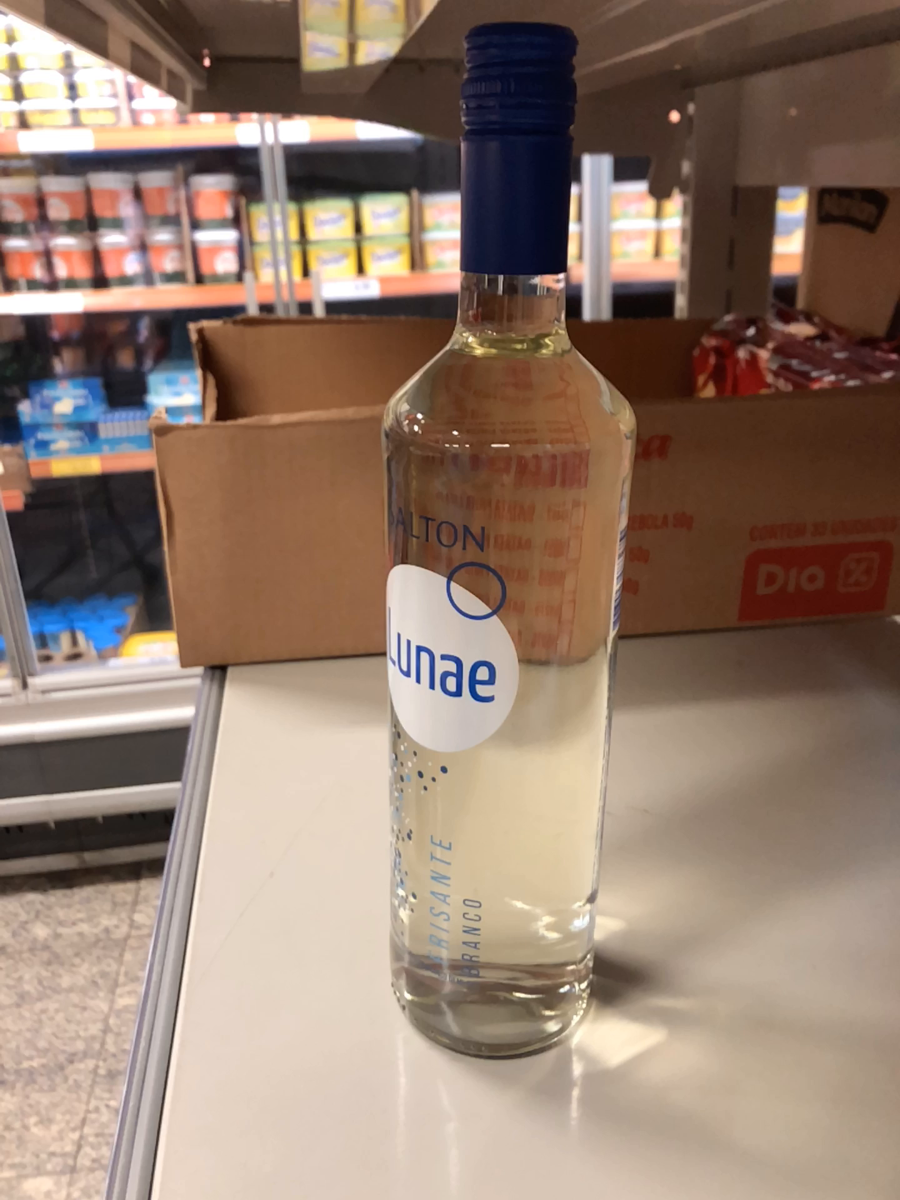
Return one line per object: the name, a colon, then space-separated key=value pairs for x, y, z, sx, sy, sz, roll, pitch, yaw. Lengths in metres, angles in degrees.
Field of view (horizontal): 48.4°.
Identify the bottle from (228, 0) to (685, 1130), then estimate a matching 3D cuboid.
bottle: x=0.010 y=0.001 z=0.307 sx=0.080 sy=0.308 sz=0.080 roll=-3 pitch=23 yaw=1
